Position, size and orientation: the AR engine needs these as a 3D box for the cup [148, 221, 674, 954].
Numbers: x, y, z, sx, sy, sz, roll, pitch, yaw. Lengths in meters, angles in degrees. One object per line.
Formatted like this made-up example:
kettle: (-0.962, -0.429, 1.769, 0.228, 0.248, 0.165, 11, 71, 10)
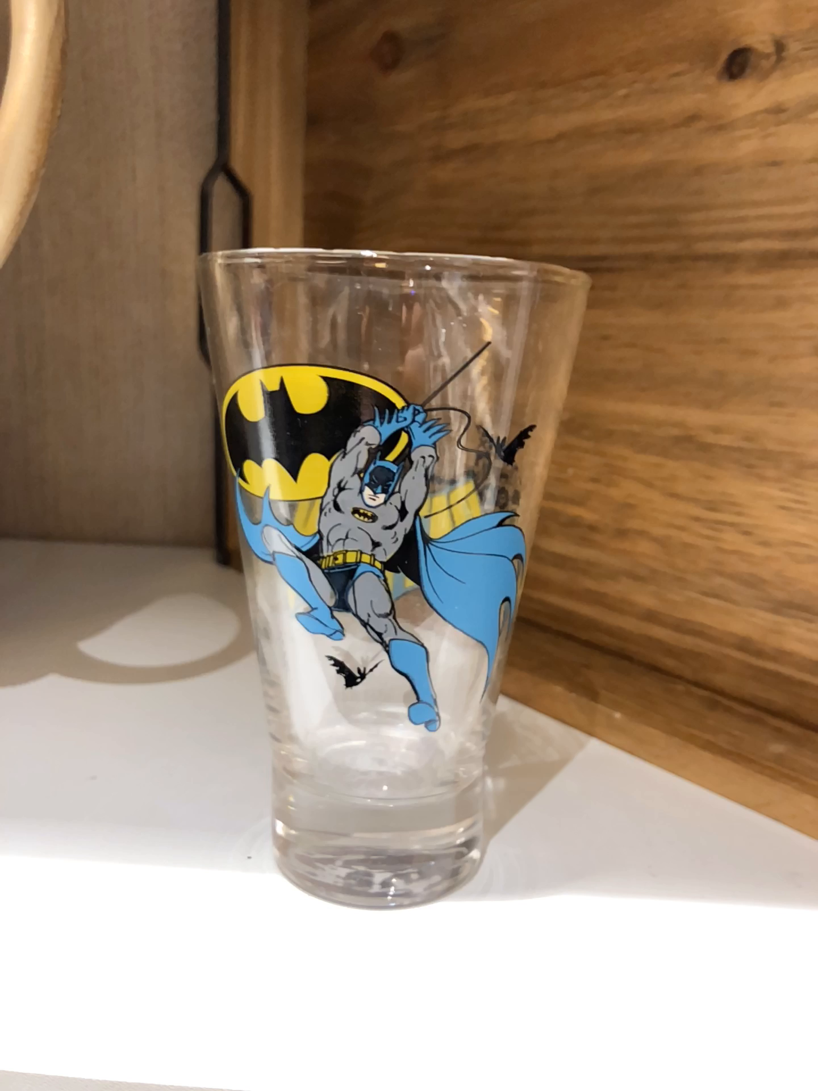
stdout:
cup: (0.003, 0.001, 0.206, 0.090, 0.129, 0.080, 5, 13, 11)
